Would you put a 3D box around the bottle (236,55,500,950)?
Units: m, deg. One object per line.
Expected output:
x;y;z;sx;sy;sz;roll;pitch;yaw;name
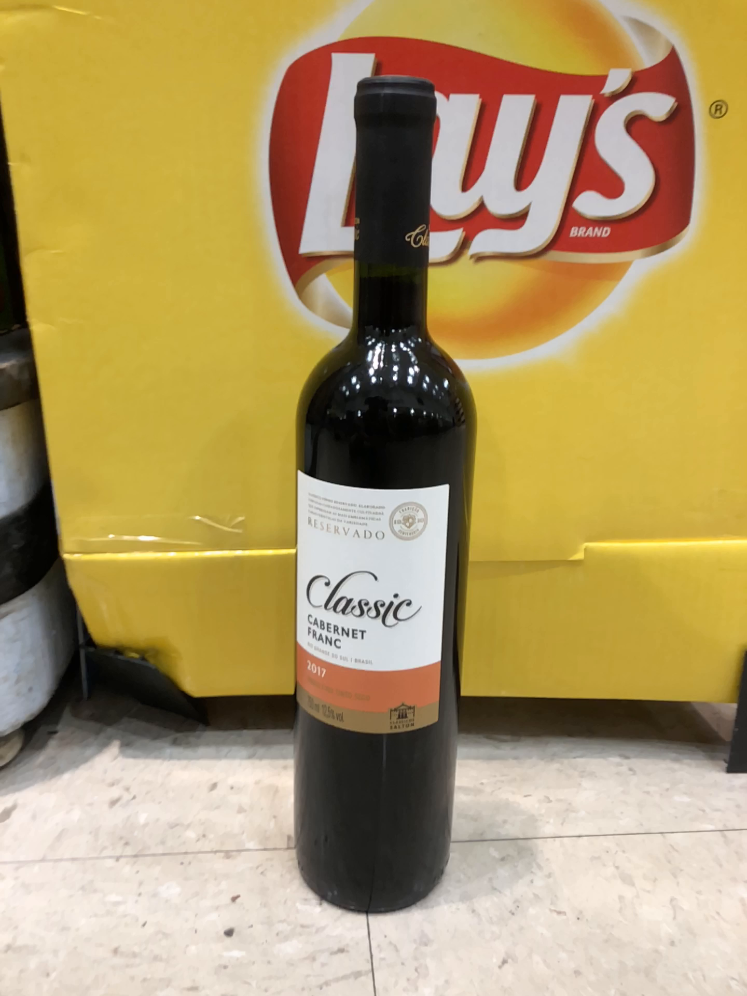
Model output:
-0.002;0.014;0.319;0.070;0.318;0.060;7;18;18;bottle
